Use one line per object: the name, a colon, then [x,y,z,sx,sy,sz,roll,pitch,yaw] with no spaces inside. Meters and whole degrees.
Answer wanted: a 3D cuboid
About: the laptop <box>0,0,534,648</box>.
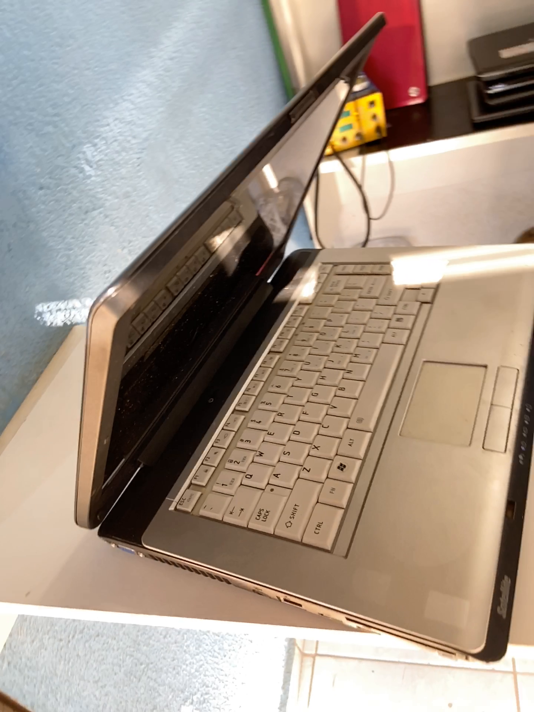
laptop: [0.037,-0.062,0.371,0.246,0.202,0.353,5,44,30]
